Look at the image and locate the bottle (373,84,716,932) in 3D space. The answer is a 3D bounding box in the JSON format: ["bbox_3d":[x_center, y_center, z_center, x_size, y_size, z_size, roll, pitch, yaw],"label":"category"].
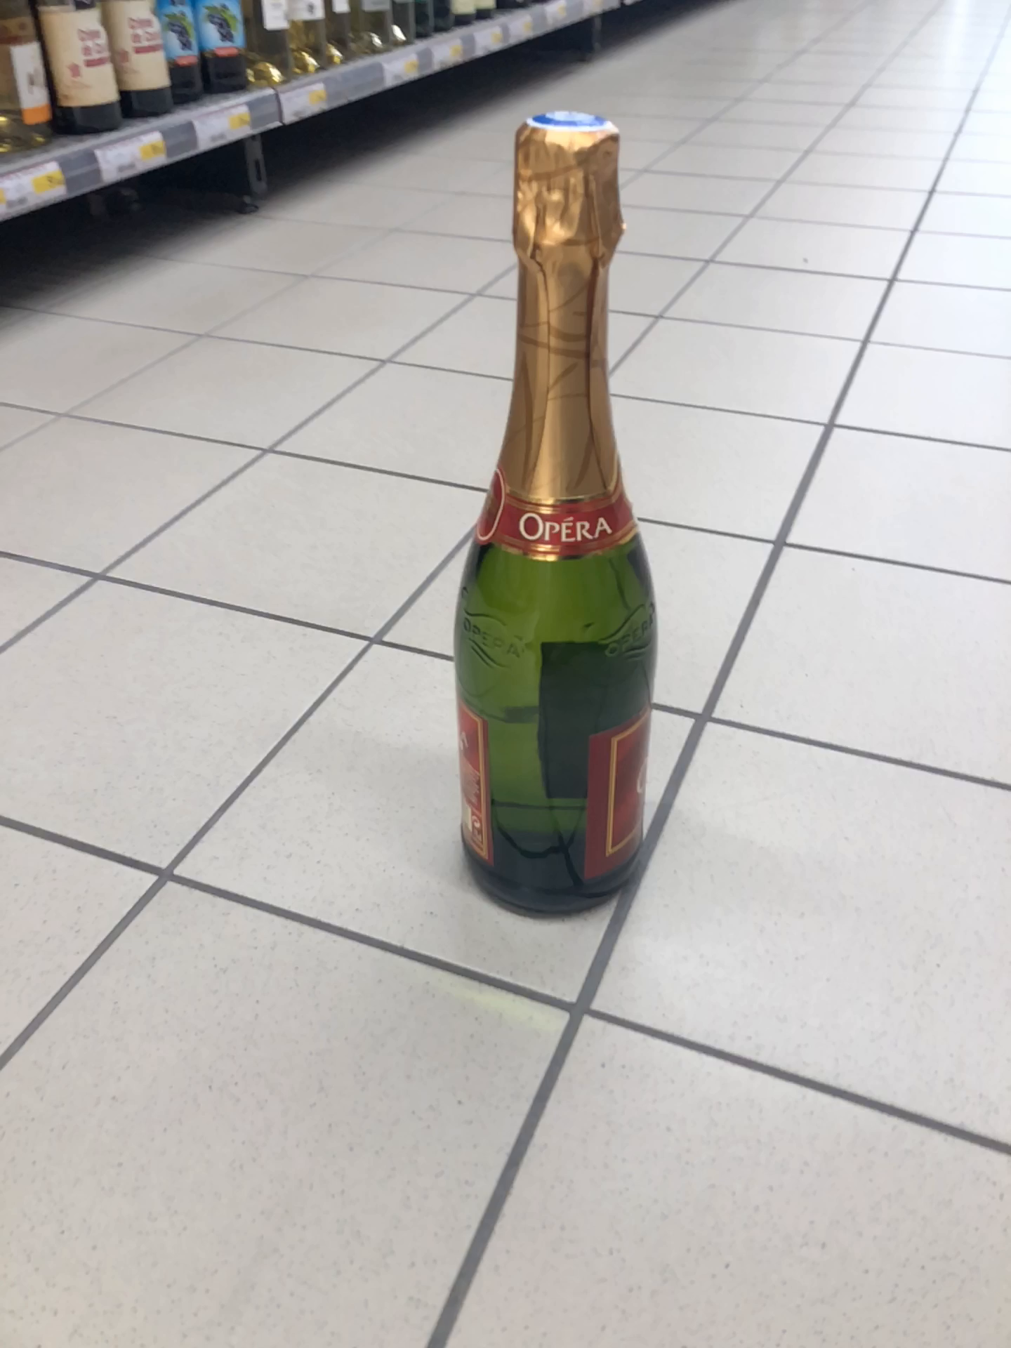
[{"bbox_3d":[0.010,-0.044,0.411,0.090,0.298,0.091,-1,35,0],"label":"bottle"}]
